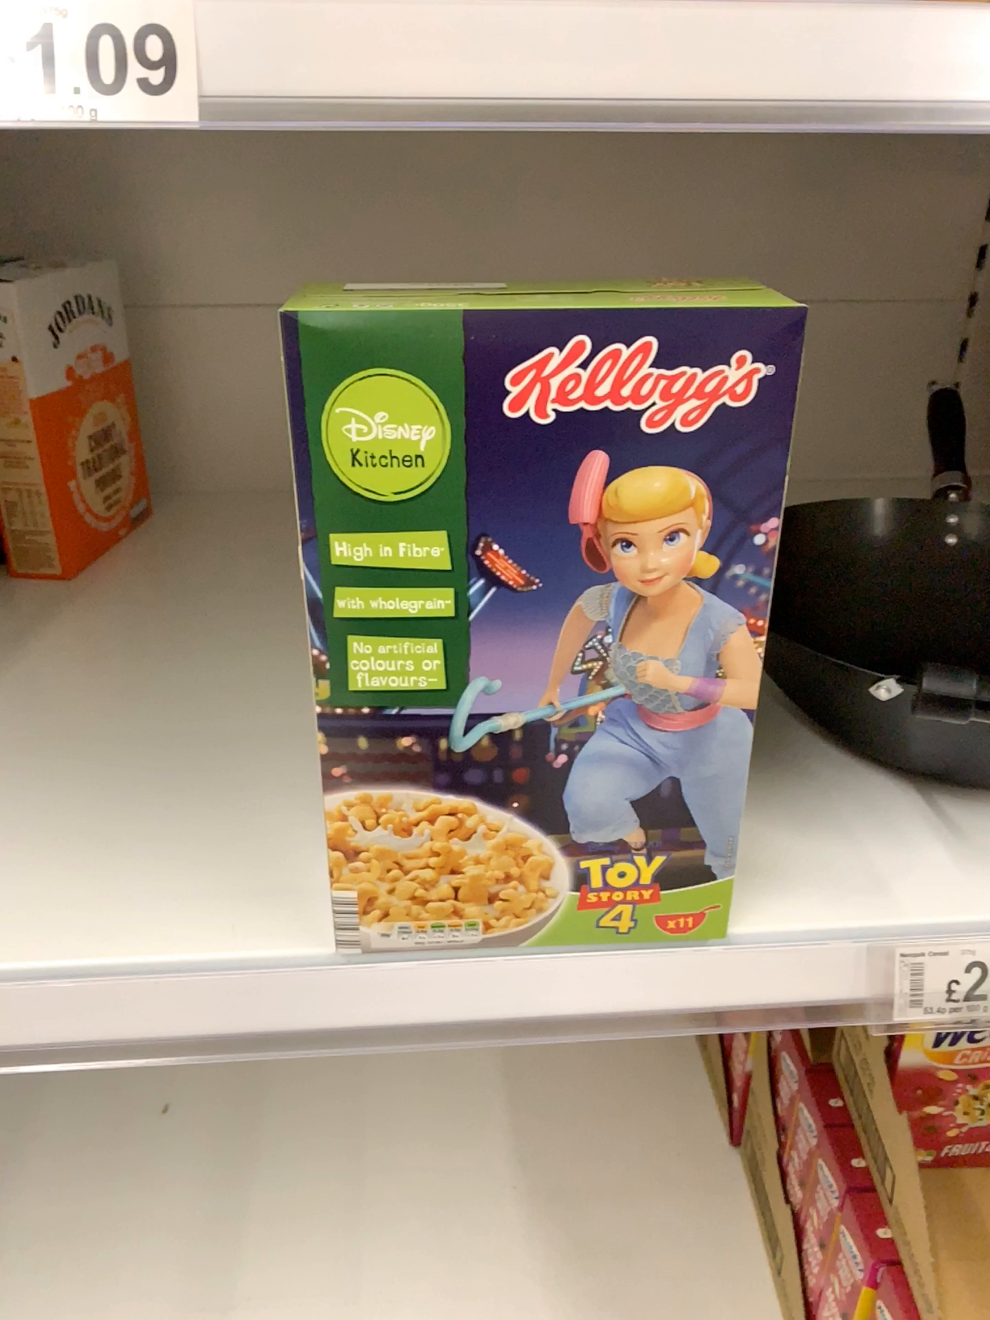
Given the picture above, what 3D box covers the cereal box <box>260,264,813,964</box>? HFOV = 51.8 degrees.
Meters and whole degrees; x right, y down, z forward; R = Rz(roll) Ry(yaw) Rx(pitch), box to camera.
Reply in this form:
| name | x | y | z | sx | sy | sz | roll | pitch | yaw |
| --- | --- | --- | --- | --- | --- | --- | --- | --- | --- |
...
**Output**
| name | x | y | z | sx | sy | sz | roll | pitch | yaw |
| --- | --- | --- | --- | --- | --- | --- | --- | --- | --- |
| cereal box | 0.013 | -0.012 | 0.451 | 0.190 | 0.297 | 0.081 | -1 | 26 | -3 |
